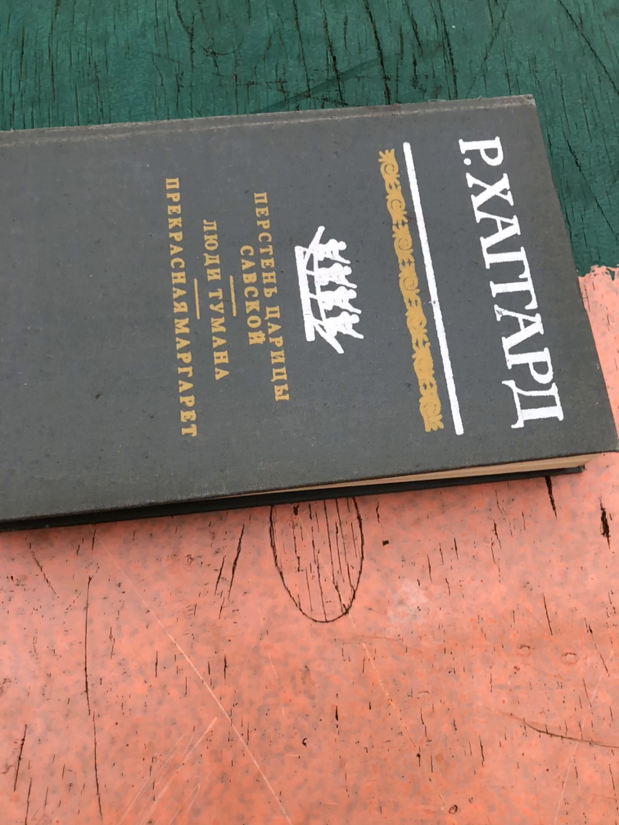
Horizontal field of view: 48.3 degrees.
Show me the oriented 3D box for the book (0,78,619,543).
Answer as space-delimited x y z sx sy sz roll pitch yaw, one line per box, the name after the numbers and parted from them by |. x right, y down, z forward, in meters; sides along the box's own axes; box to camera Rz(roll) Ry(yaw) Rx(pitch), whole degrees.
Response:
-0.007 -0.041 0.247 0.221 0.030 0.150 -5 73 -4 | book
